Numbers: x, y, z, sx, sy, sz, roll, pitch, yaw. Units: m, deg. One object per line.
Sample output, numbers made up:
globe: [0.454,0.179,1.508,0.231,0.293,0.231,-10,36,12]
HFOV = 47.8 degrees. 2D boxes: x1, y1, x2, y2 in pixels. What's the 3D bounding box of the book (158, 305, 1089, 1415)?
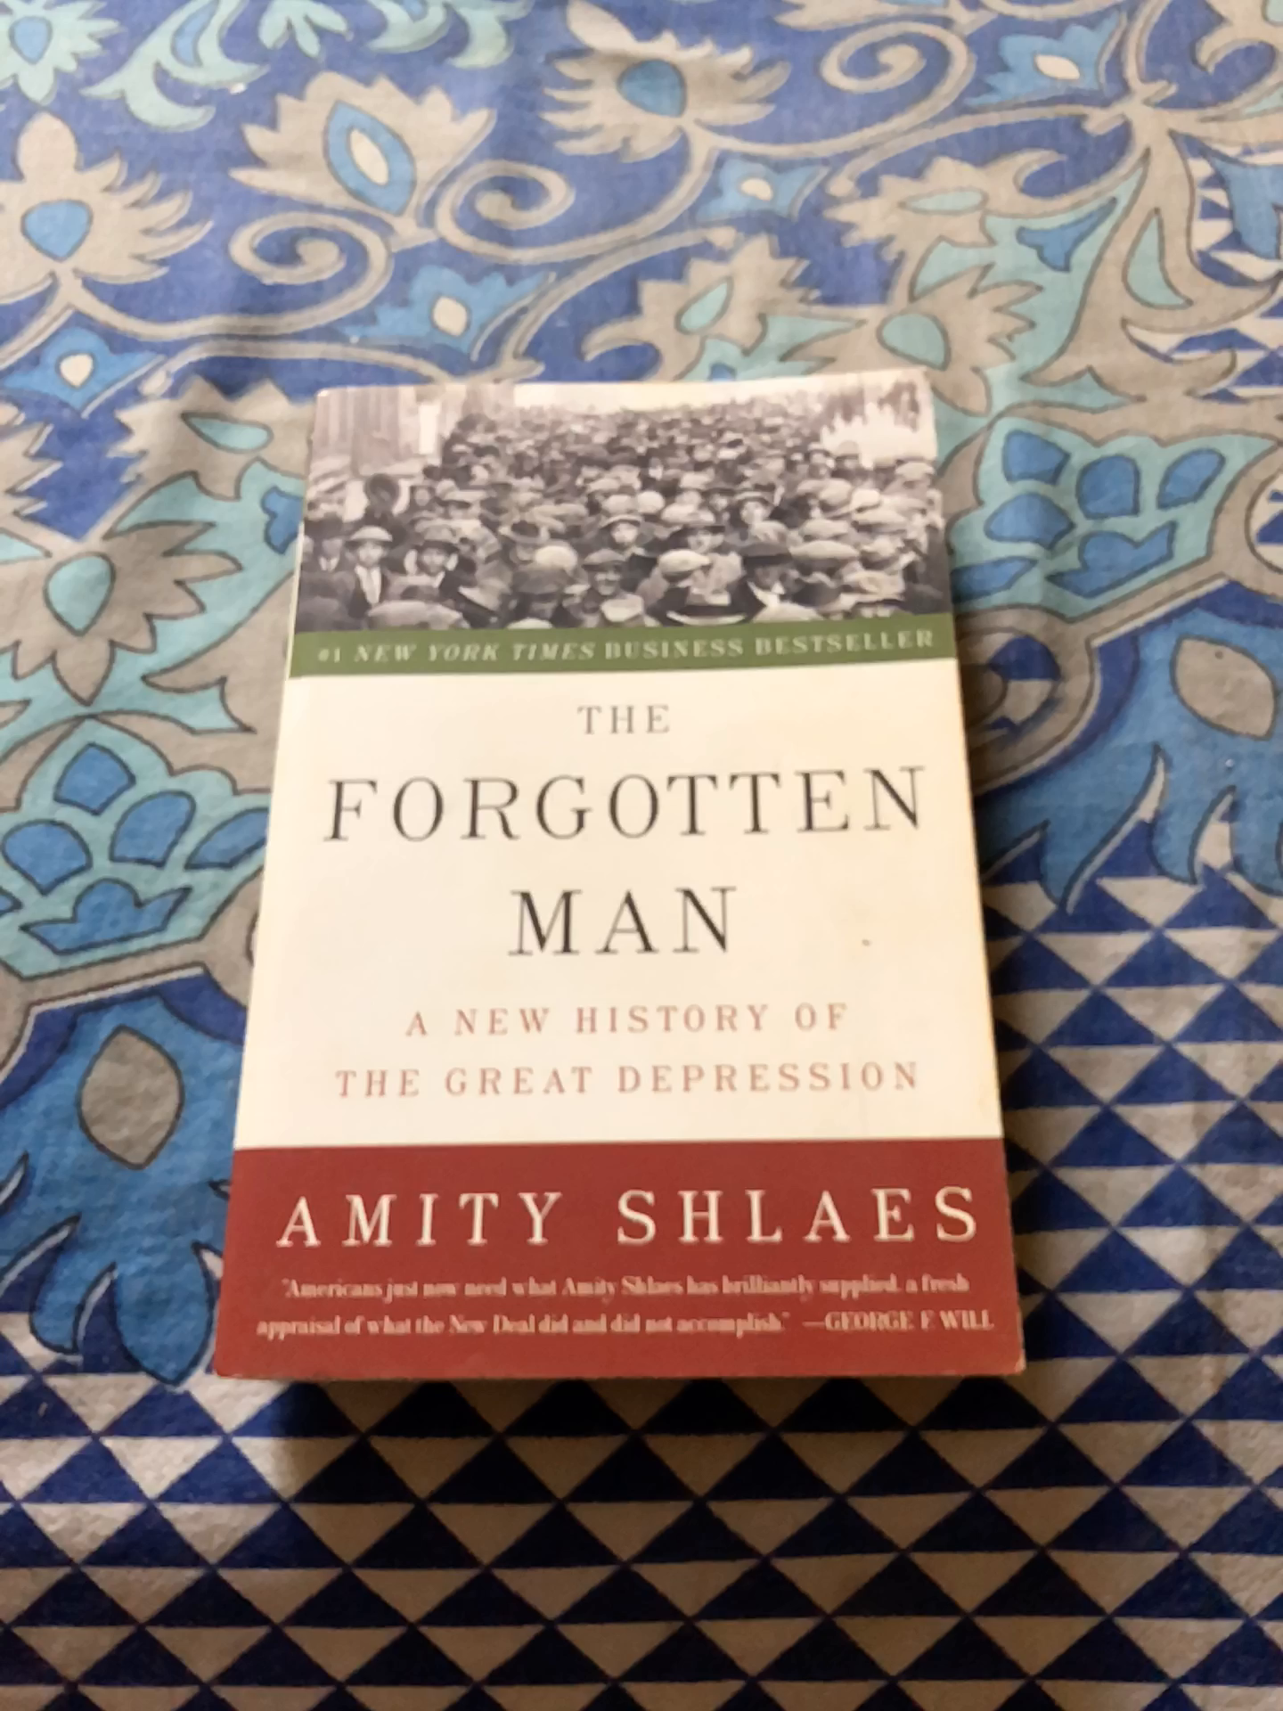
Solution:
book: [-0.006,-0.004,0.276,0.140,0.050,0.200,-2,70,0]
